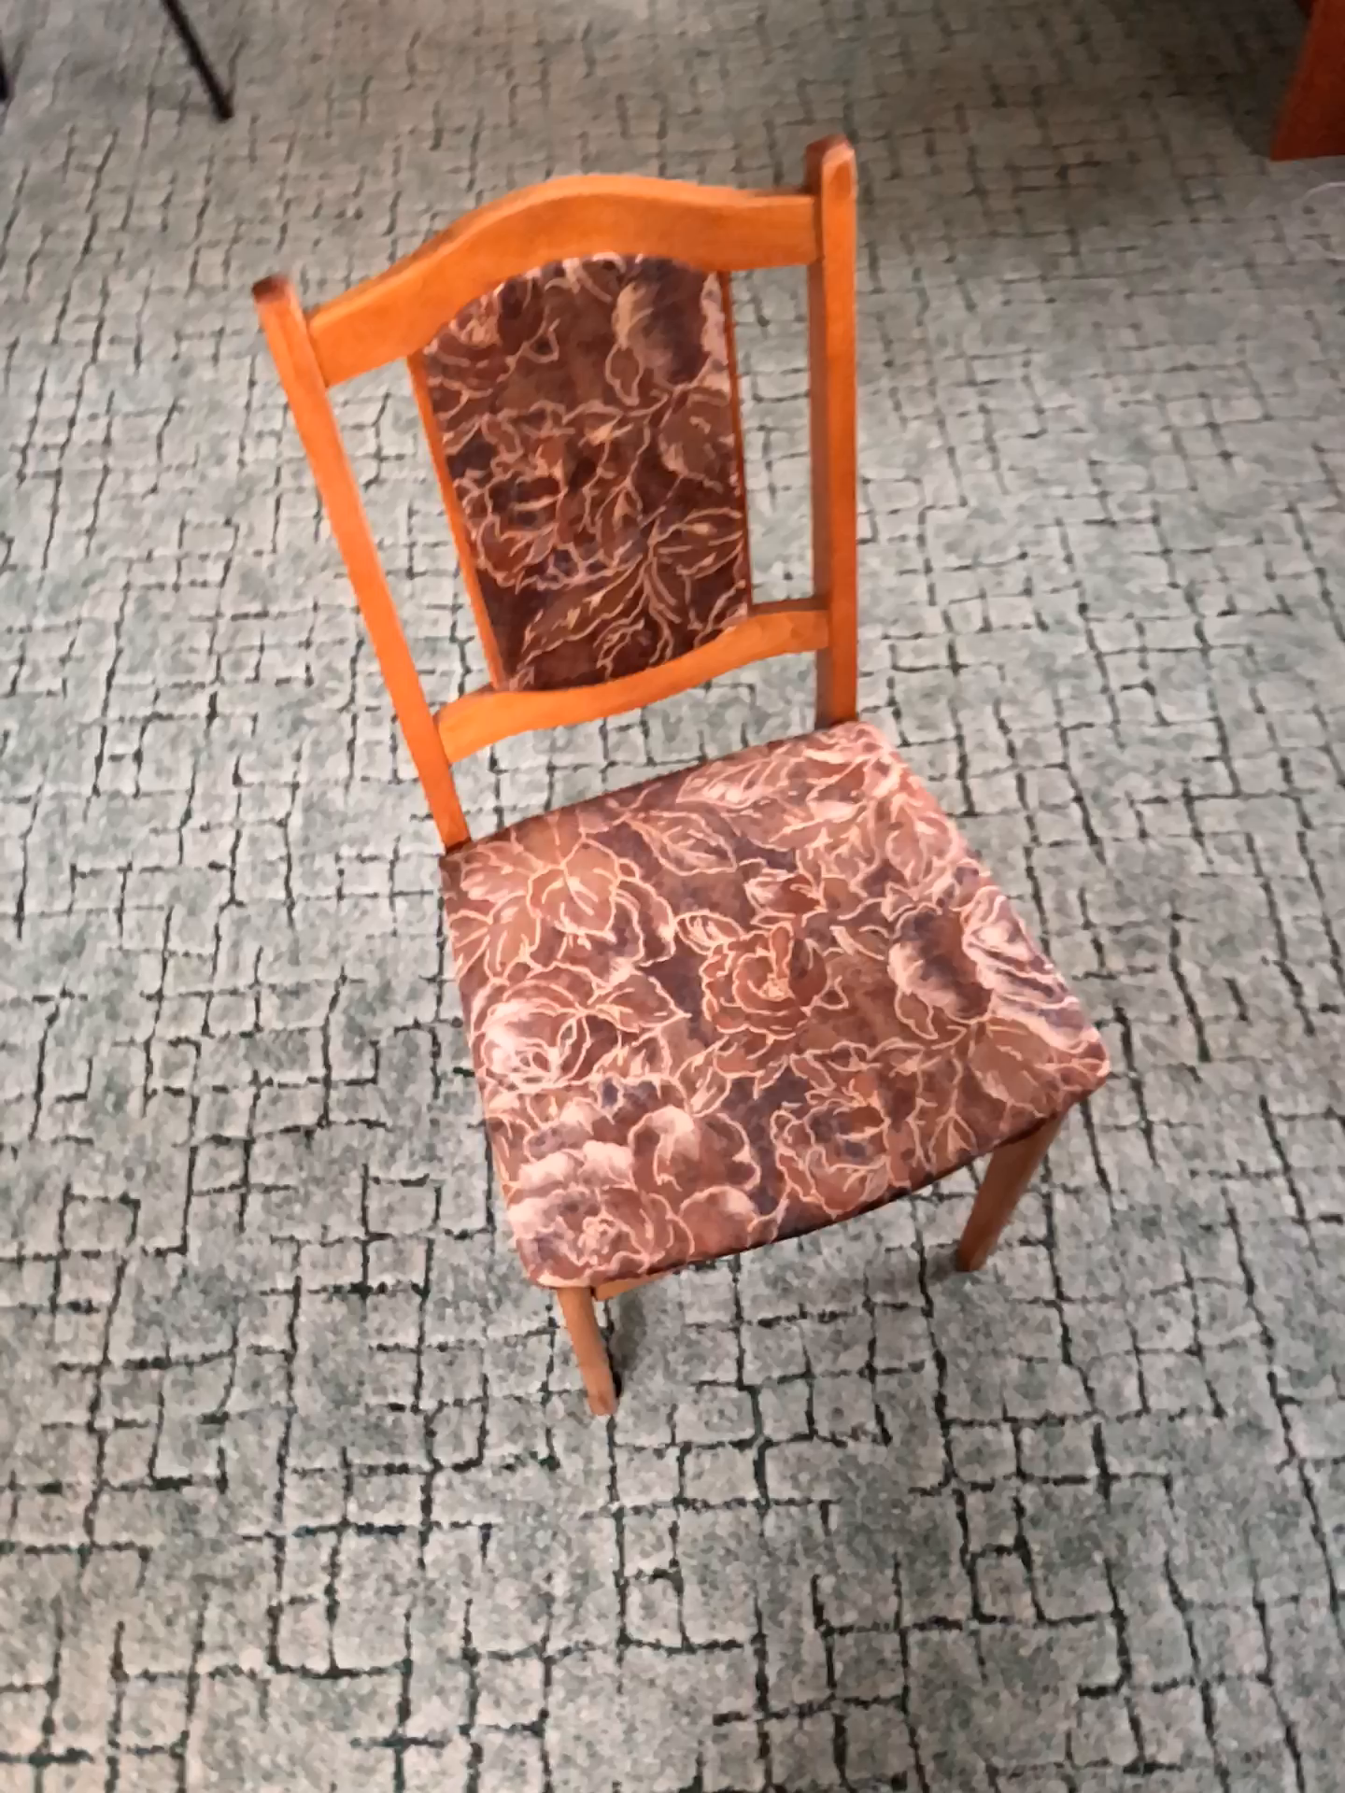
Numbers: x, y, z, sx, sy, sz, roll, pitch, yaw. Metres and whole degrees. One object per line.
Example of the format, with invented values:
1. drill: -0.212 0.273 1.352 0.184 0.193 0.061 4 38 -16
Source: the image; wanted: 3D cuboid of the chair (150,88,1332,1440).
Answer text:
1. chair: 0.015 -0.012 1.173 0.480 0.875 0.553 -17 59 -7
